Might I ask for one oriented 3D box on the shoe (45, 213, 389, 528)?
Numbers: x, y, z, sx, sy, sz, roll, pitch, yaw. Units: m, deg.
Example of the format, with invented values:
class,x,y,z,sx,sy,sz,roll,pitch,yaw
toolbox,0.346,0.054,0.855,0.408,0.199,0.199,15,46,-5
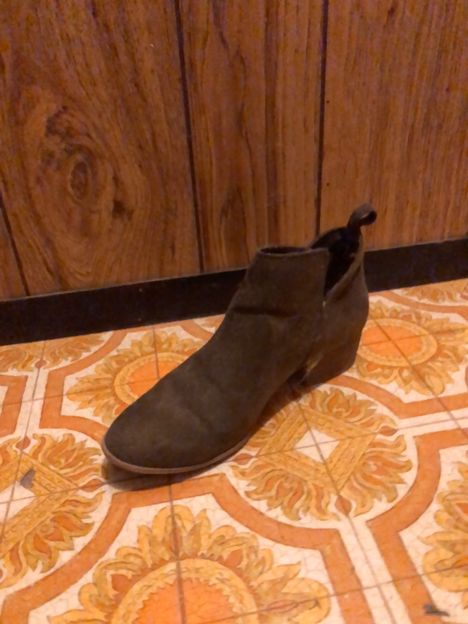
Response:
class,x,y,z,sx,sy,sz,roll,pitch,yaw
shoe,0.005,0.028,0.413,0.260,0.130,0.080,-26,37,-32
